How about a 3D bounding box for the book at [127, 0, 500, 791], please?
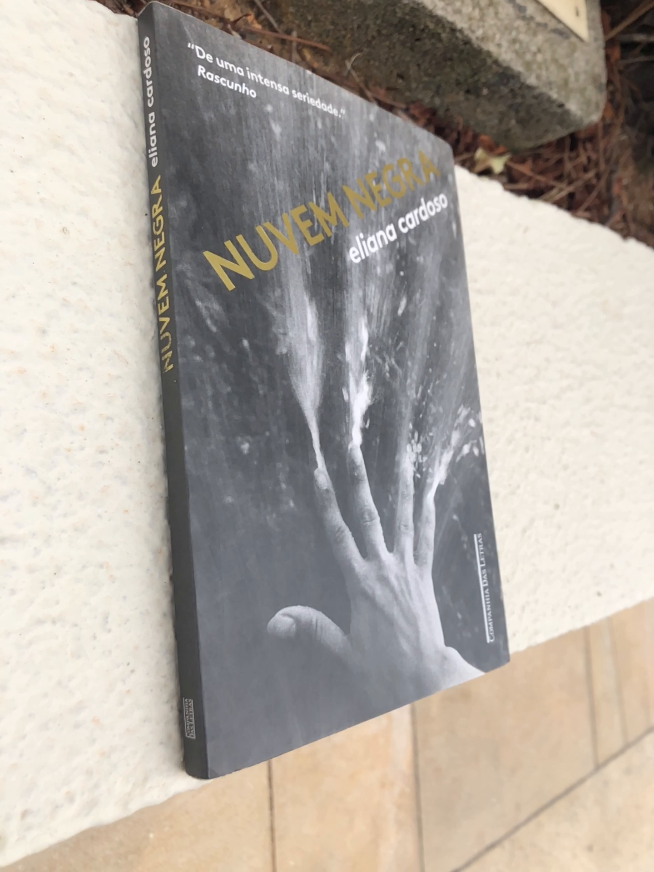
[{"bbox_3d":[0.005,-0.014,0.237,0.141,0.013,0.200,2,82,-47],"label":"book"}]
